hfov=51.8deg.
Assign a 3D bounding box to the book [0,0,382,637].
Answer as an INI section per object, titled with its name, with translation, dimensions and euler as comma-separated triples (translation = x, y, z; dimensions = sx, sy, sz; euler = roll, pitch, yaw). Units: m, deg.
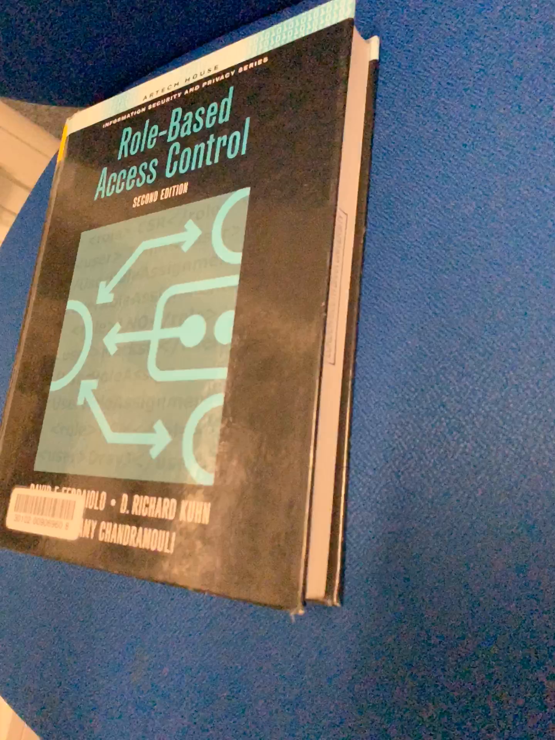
[book]
translation = -0.054, -0.029, 0.262
dimensions = 0.190, 0.030, 0.240
euler = -3, 73, 33
